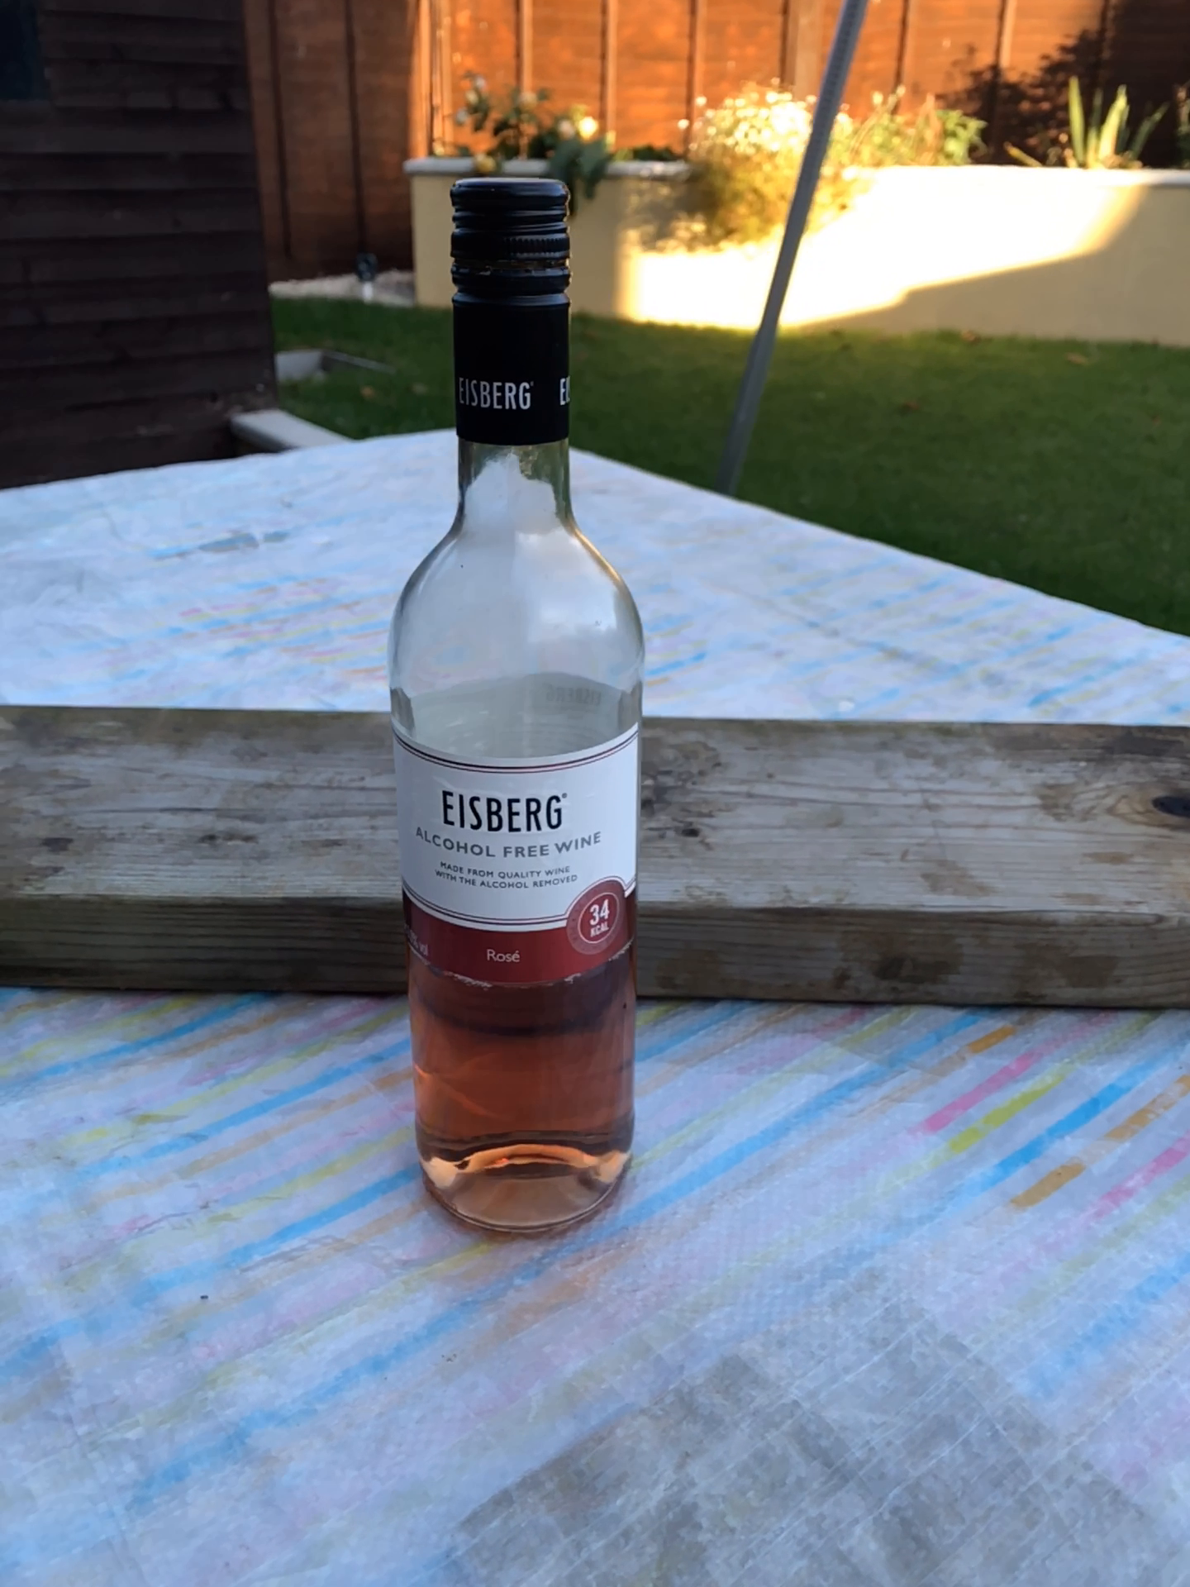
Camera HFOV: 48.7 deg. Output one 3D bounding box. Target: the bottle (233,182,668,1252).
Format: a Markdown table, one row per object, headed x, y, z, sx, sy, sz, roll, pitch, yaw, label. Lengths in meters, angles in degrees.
| x | y | z | sx | sy | sz | roll | pitch | yaw | label |
| --- | --- | --- | --- | --- | --- | --- | --- | --- | --- |
| -0.029 | -0.012 | 0.369 | 0.090 | 0.288 | 0.081 | 1 | 25 | 2 | bottle |
